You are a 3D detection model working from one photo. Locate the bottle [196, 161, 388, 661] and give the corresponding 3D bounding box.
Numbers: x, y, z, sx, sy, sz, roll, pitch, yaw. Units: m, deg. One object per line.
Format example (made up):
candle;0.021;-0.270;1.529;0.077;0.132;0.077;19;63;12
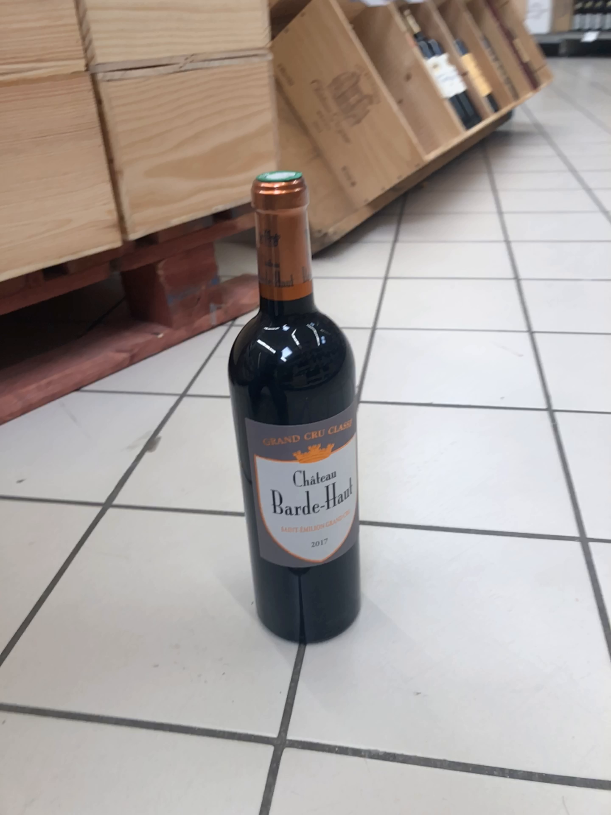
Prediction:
bottle;-0.003;0.013;0.407;0.080;0.288;0.080;-3;29;1
